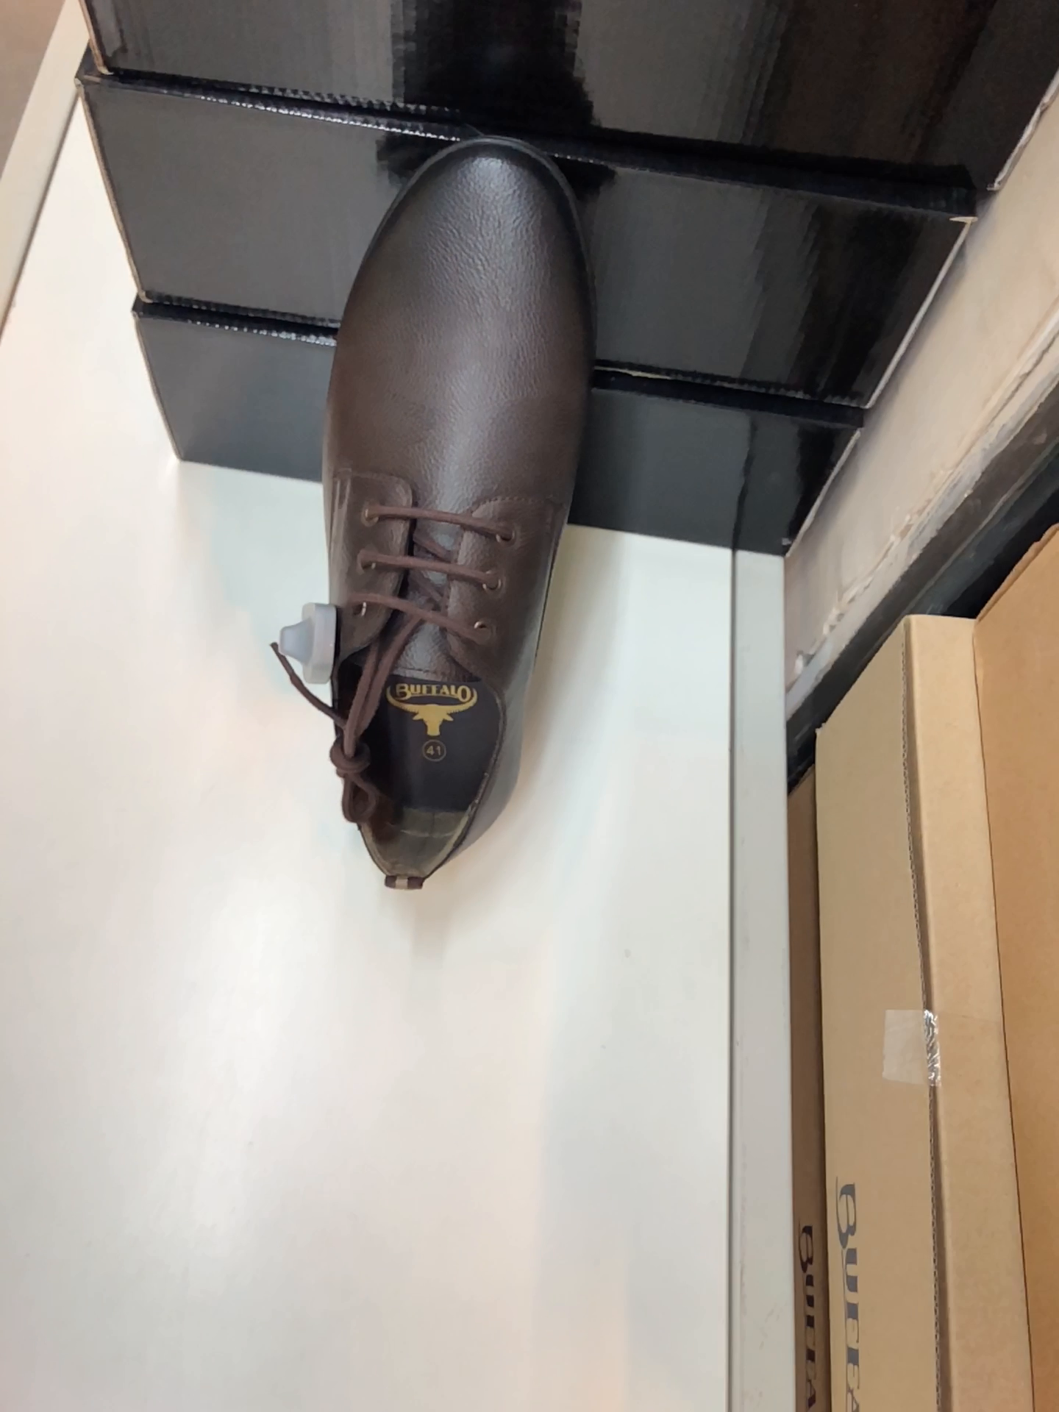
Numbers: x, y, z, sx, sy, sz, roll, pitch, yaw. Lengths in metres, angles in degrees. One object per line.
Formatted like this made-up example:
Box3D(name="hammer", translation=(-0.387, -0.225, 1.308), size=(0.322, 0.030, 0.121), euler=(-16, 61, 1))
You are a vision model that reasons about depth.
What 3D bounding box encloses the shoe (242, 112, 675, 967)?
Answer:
Box3D(name="shoe", translation=(-0.026, -0.059, 0.443), size=(0.111, 0.271, 0.116), euler=(10, 20, 5))
